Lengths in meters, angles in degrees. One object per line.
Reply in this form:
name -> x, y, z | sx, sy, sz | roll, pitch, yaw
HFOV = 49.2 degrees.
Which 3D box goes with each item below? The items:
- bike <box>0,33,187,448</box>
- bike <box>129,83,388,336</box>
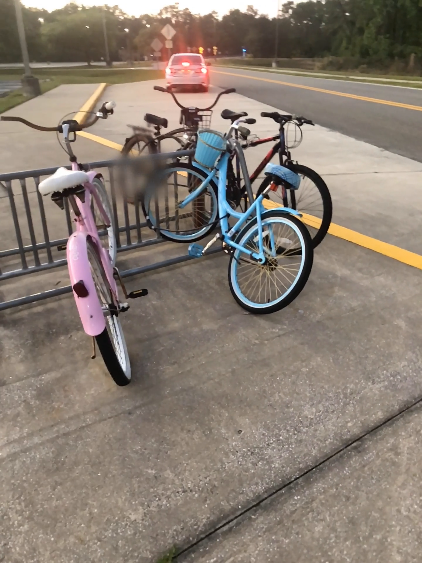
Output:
bike -> -0.647, -0.408, 2.239 | 0.772, 1.146, 1.616 | -6, 34, -10
bike -> 0.200, -0.544, 2.841 | 0.584, 0.954, 1.422 | -20, 38, -34
